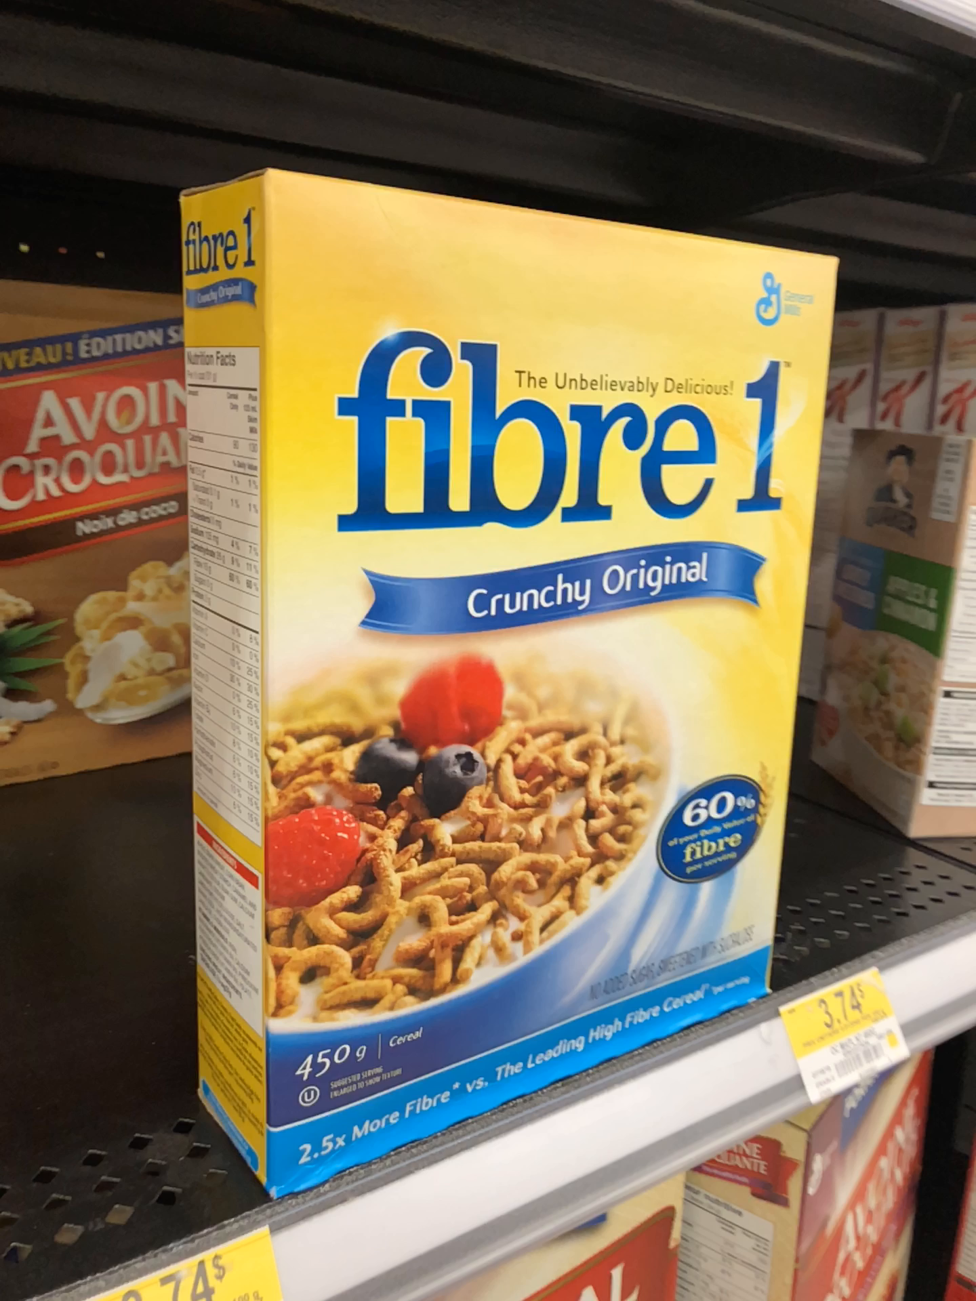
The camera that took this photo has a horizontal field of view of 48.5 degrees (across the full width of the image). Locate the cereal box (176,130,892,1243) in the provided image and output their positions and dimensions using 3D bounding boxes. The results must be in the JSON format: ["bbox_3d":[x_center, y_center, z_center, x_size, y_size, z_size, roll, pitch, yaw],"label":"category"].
[{"bbox_3d":[0.018,0.006,0.324,0.200,0.259,0.060,-6,15,-34],"label":"cereal box"}]
